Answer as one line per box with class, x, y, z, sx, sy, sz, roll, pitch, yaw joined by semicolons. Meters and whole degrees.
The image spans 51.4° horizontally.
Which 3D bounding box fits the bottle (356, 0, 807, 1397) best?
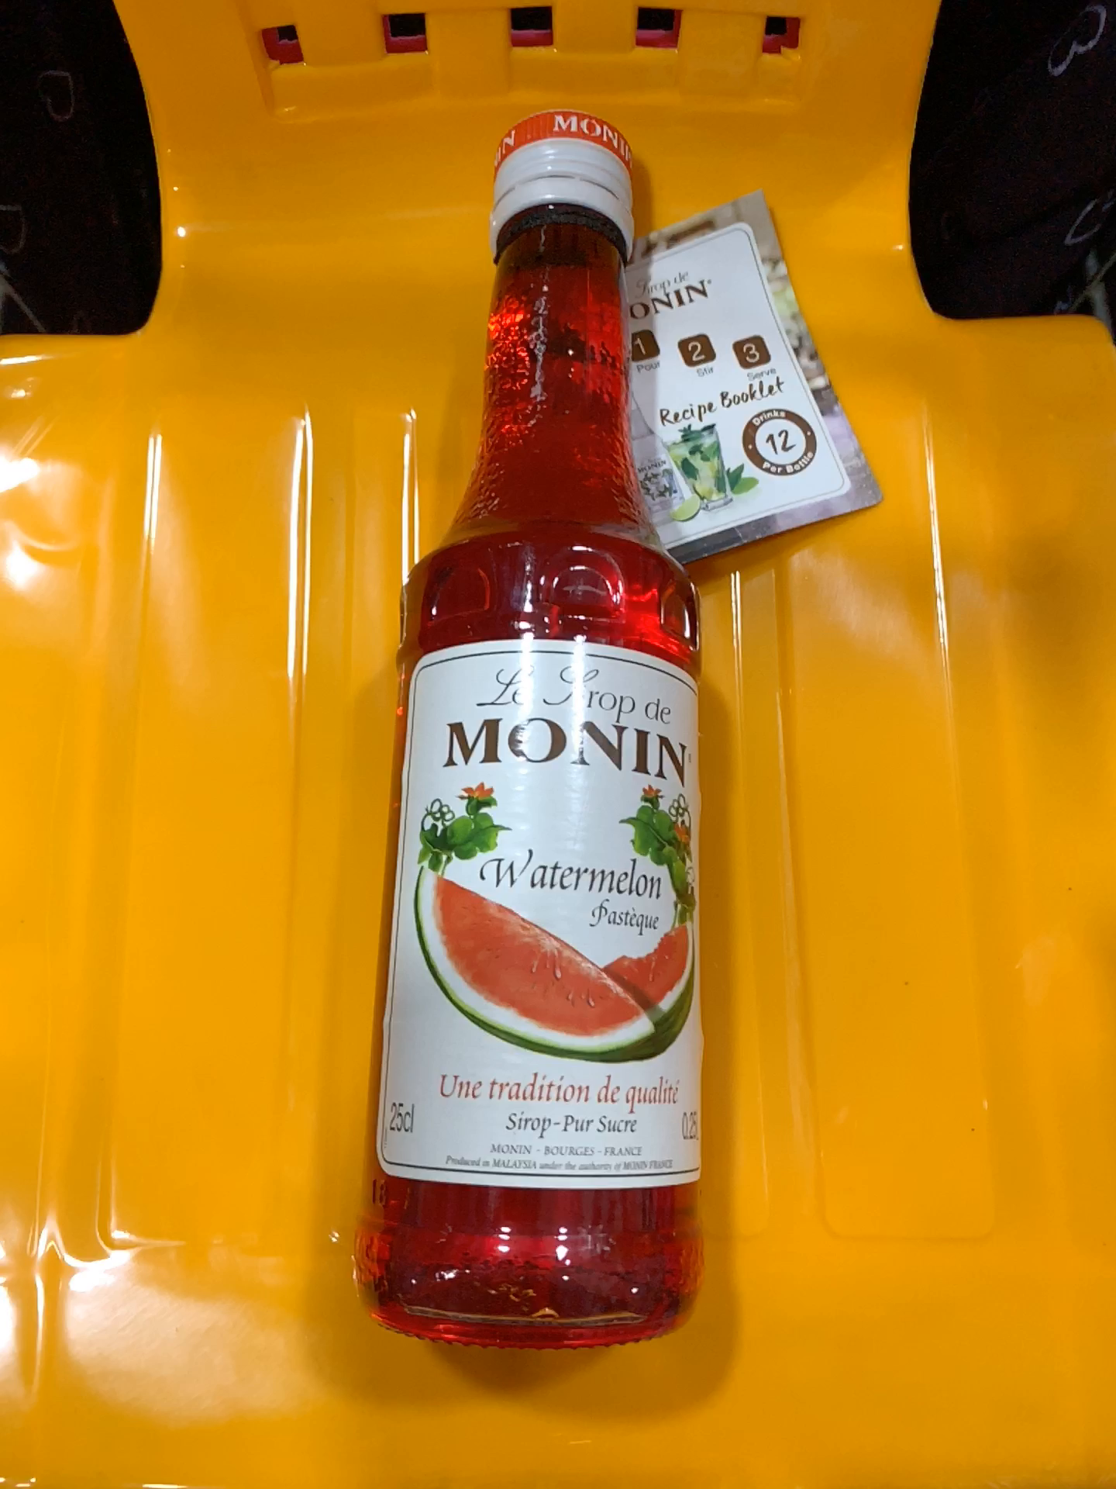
bottle;0.006;-0.018;0.208;0.060;0.050;0.230;6;77;-9
